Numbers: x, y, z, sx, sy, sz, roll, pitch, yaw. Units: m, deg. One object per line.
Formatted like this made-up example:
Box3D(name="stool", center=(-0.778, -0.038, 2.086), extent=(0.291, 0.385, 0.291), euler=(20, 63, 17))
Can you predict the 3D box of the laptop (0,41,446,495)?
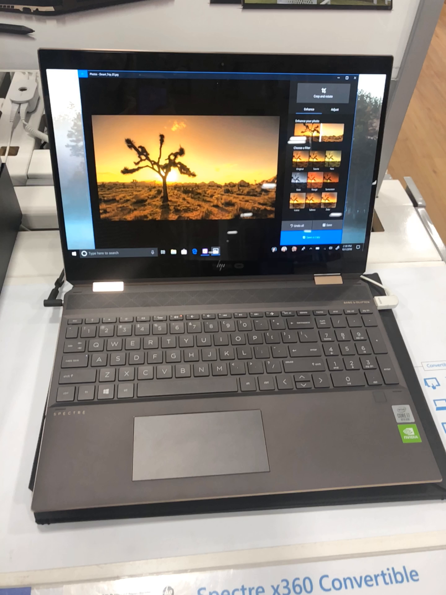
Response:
Box3D(name="laptop", center=(0.004, -0.049, 0.464), extent=(0.348, 0.209, 0.360), euler=(-2, 50, -6))
